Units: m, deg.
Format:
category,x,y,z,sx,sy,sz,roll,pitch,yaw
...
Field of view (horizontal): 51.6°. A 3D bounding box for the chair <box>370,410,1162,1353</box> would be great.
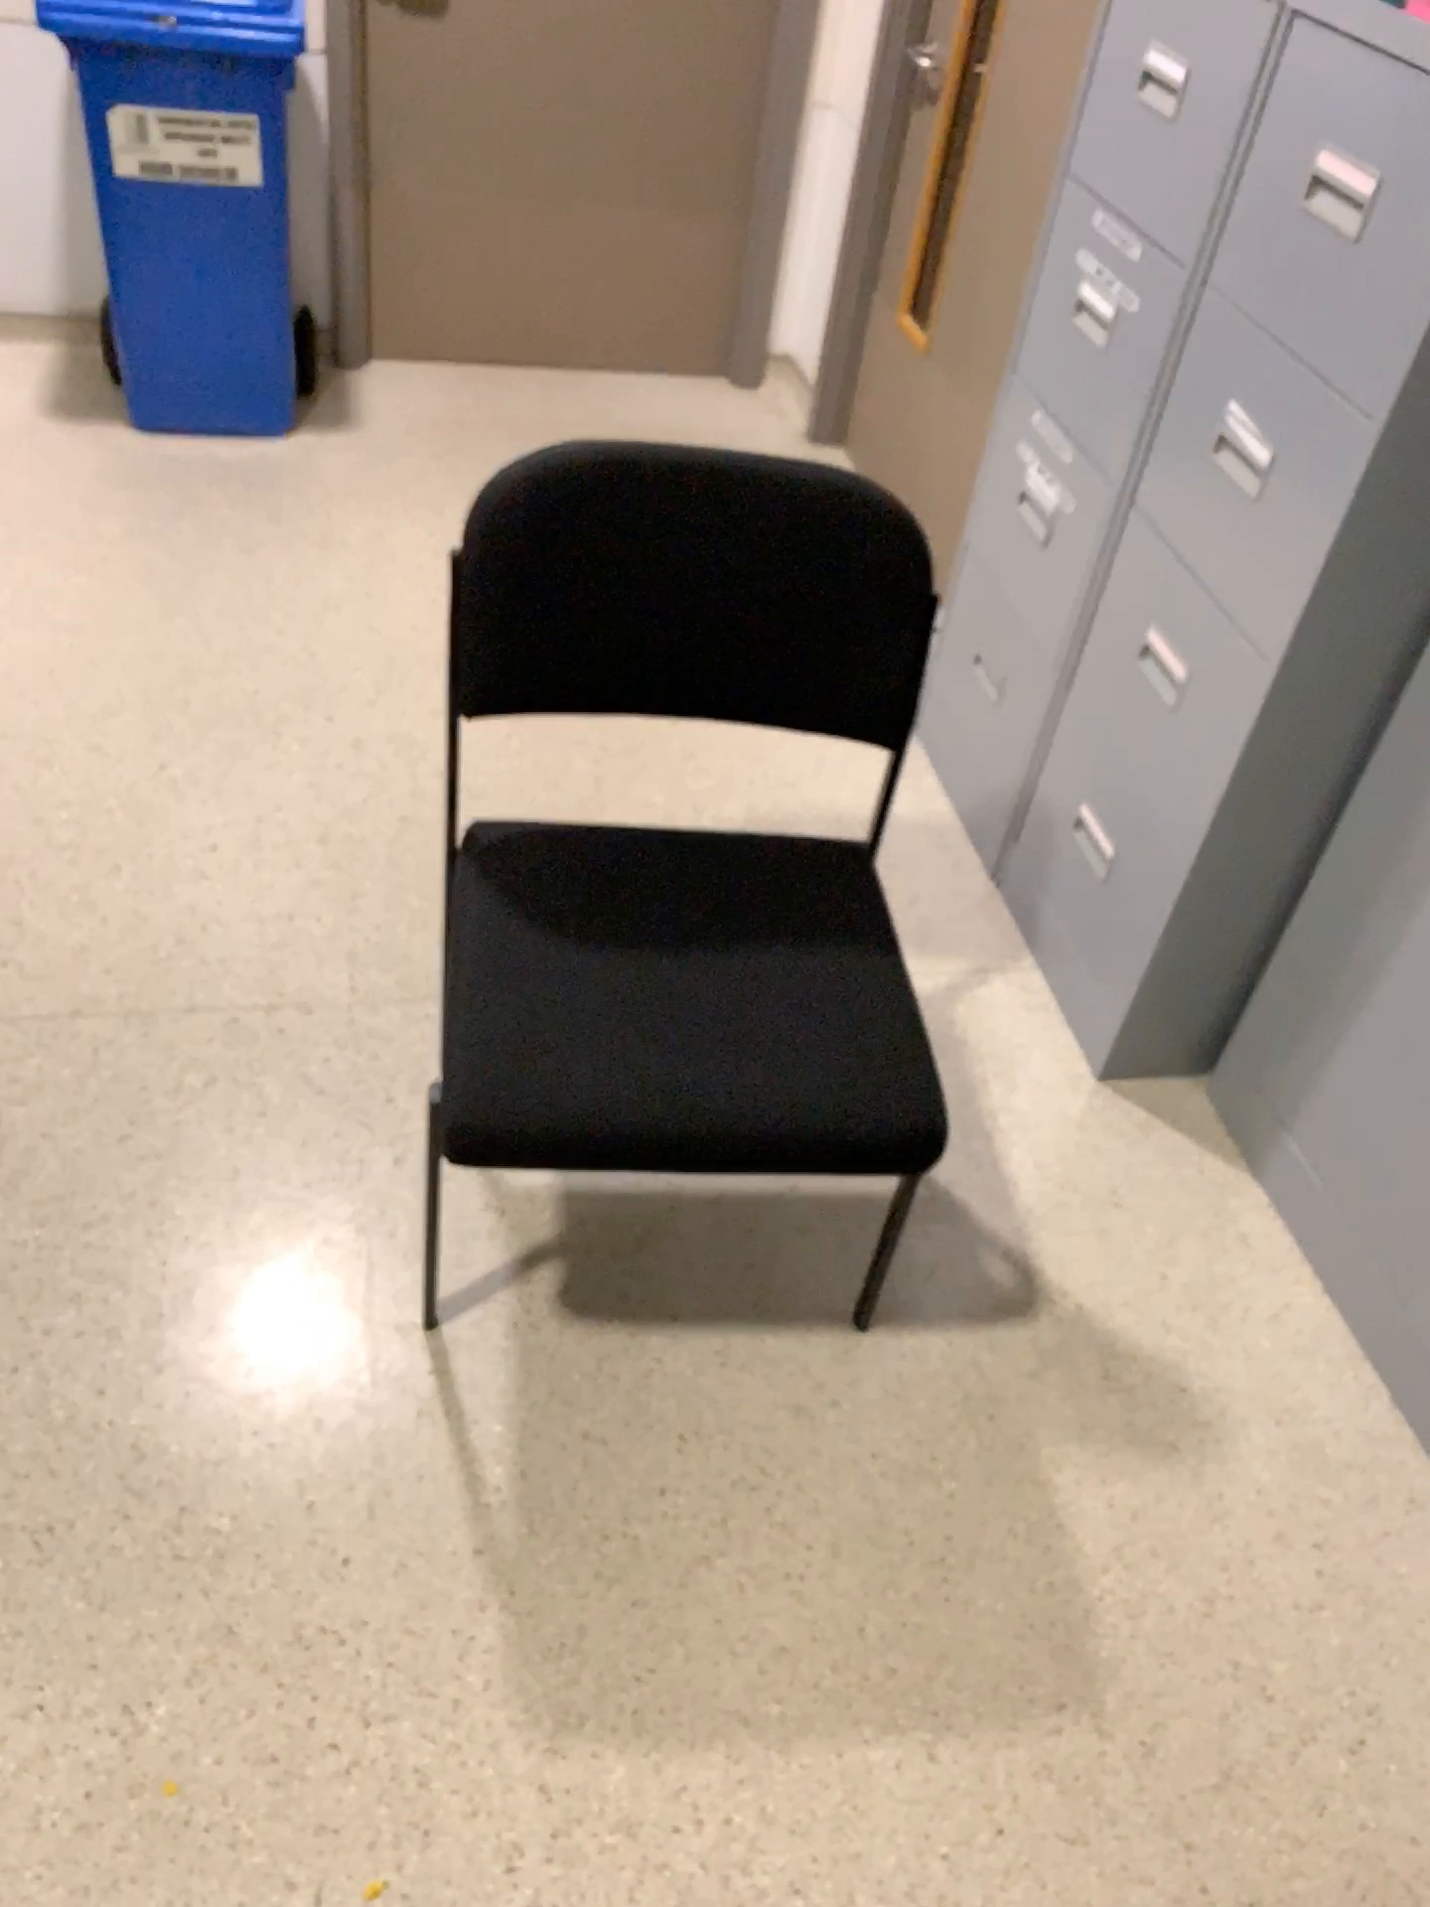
category,x,y,z,sx,sy,sz,roll,pitch,yaw
chair,-0.027,-0.047,1.643,0.630,0.832,0.585,3,41,-9
